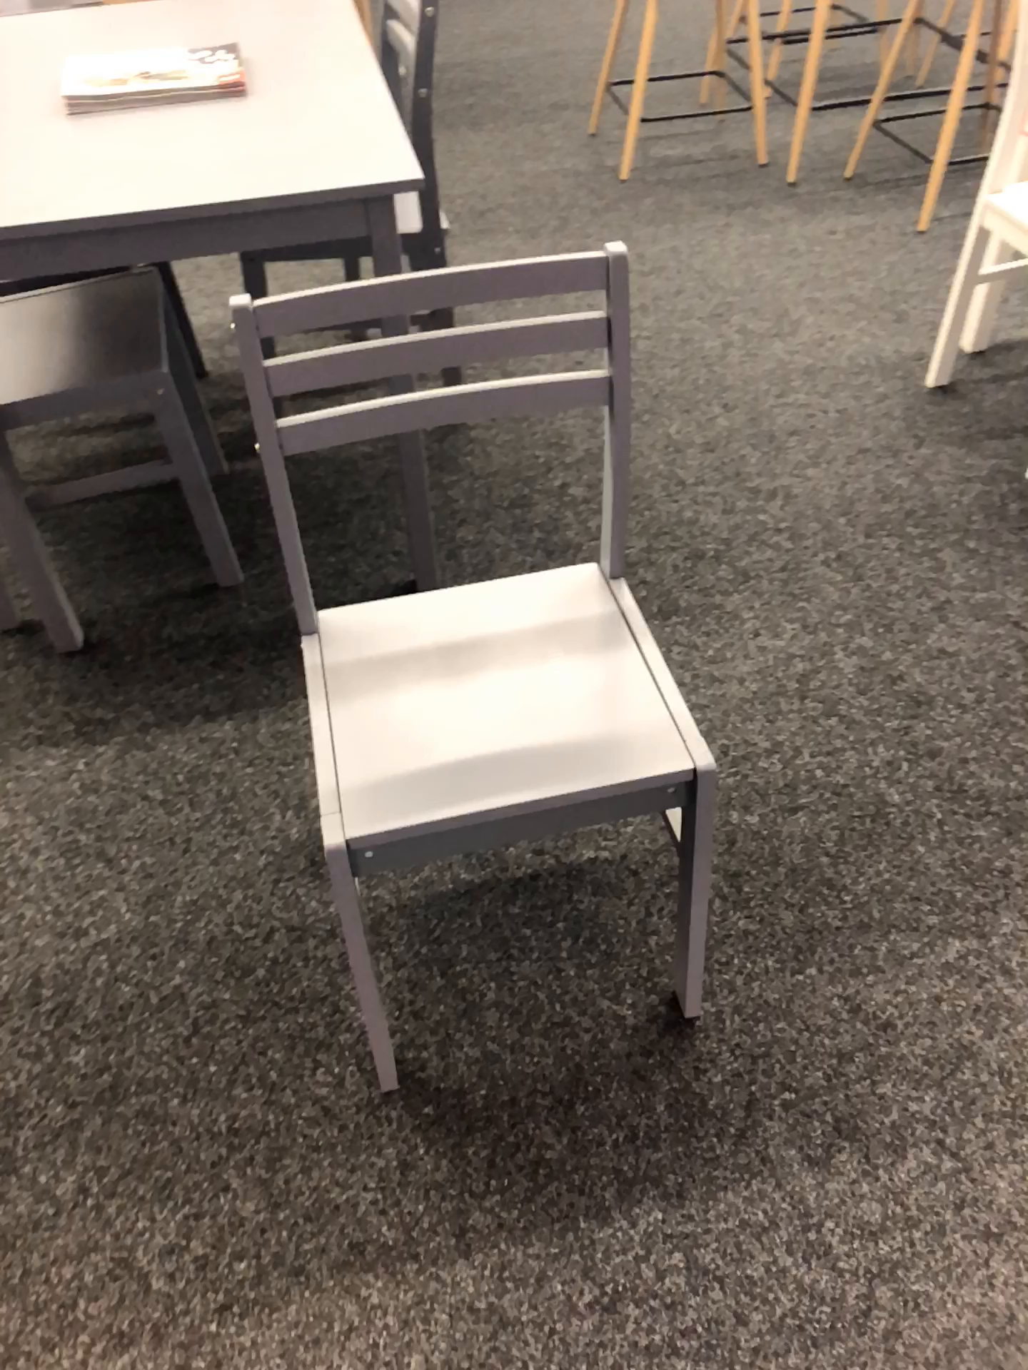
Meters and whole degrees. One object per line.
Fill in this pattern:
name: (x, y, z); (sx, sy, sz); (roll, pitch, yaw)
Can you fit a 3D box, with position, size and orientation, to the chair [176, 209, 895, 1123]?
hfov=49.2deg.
chair: (-0.010, 0.001, 1.203); (0.491, 0.766, 0.492); (-12, 44, -9)
